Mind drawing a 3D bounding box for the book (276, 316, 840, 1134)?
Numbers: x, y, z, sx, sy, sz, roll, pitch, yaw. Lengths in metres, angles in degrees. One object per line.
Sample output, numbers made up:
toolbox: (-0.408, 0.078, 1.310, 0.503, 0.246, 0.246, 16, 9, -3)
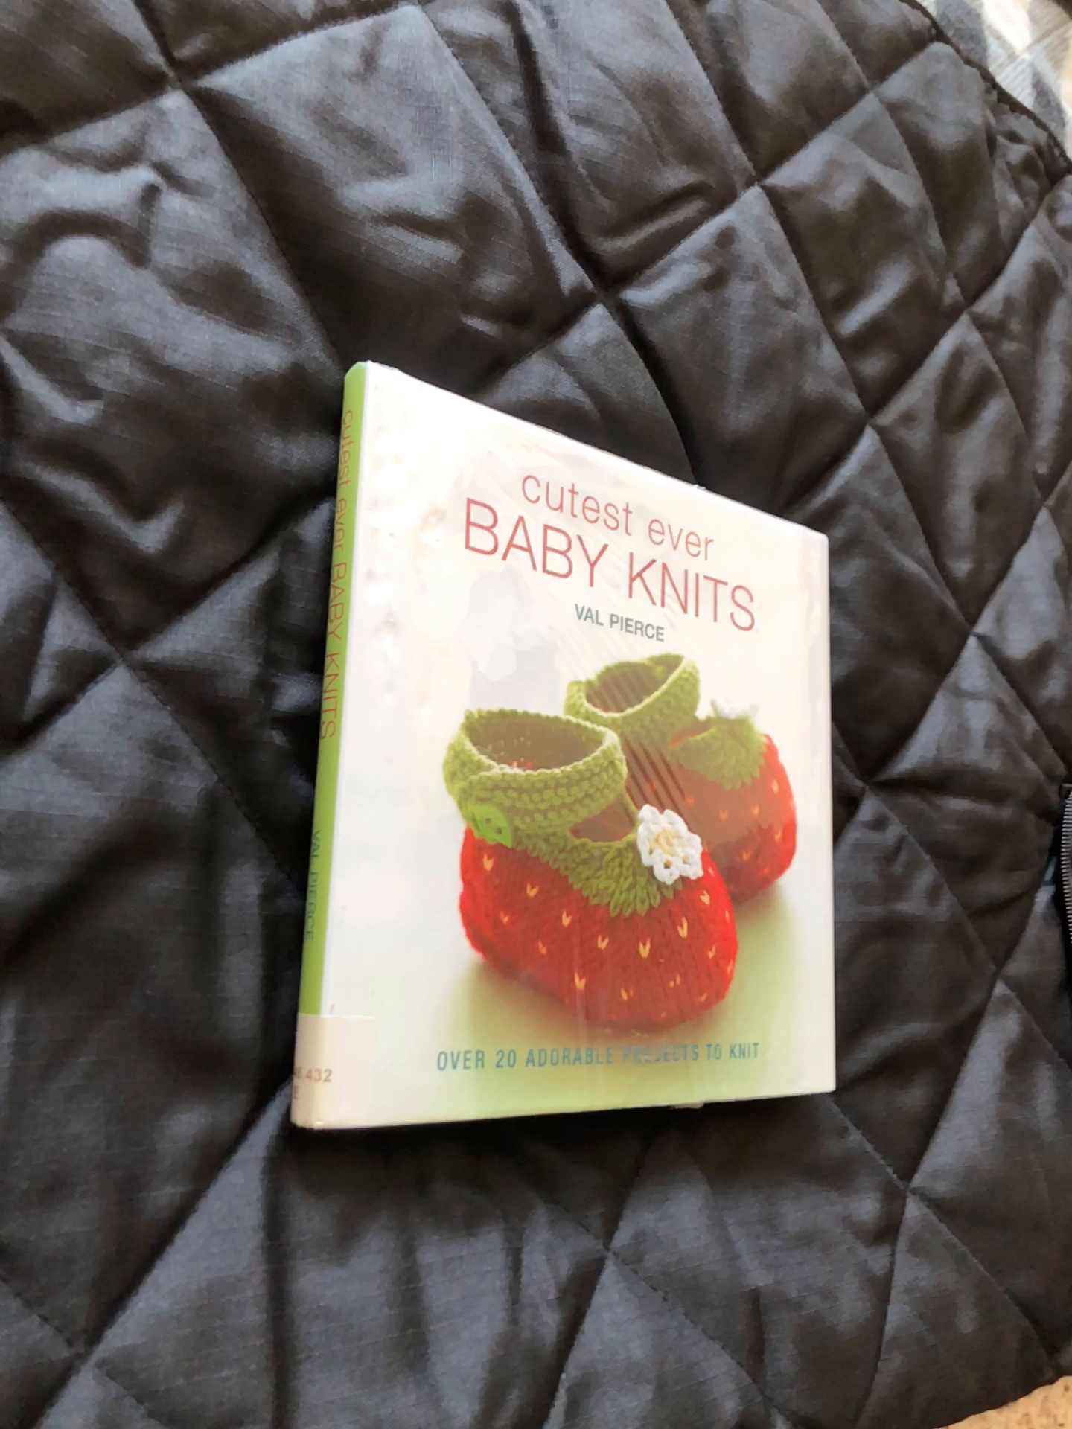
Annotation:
book: (0.023, 0.012, 0.356, 0.198, 0.020, 0.200, 11, 76, -40)
